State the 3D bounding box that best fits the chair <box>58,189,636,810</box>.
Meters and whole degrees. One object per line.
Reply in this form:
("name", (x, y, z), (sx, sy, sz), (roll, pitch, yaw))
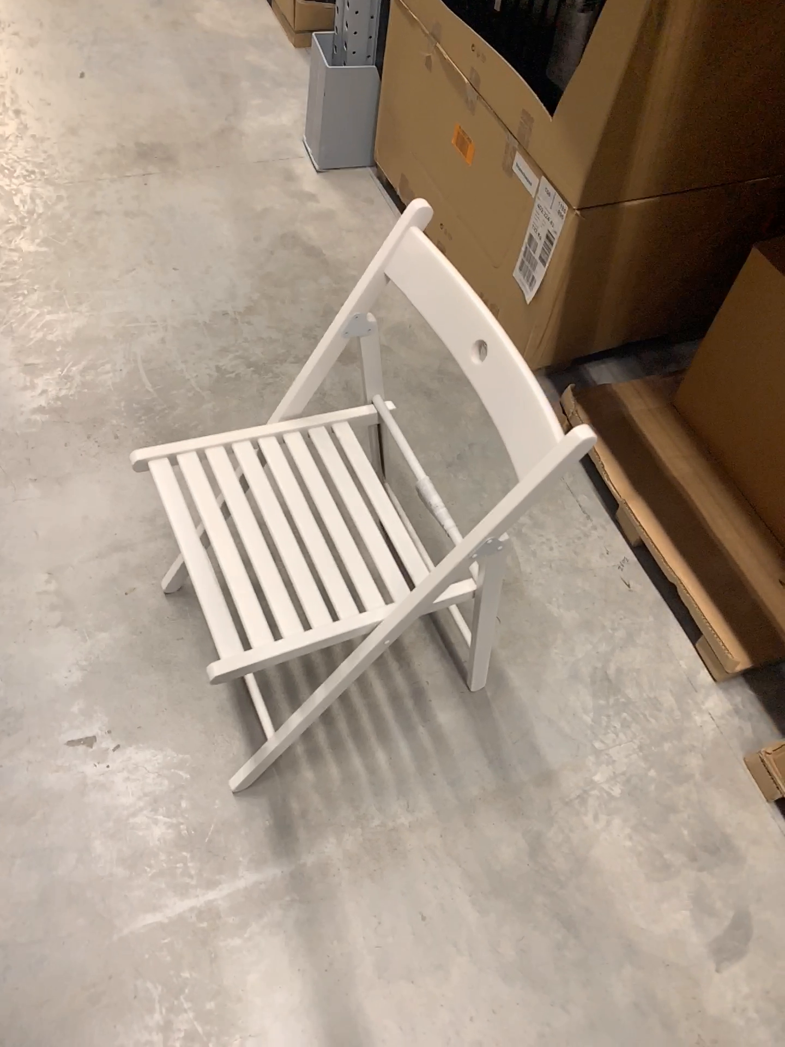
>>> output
("chair", (-0.099, 0.011, 1.112), (0.470, 0.708, 0.431), (-17, 60, -18))
